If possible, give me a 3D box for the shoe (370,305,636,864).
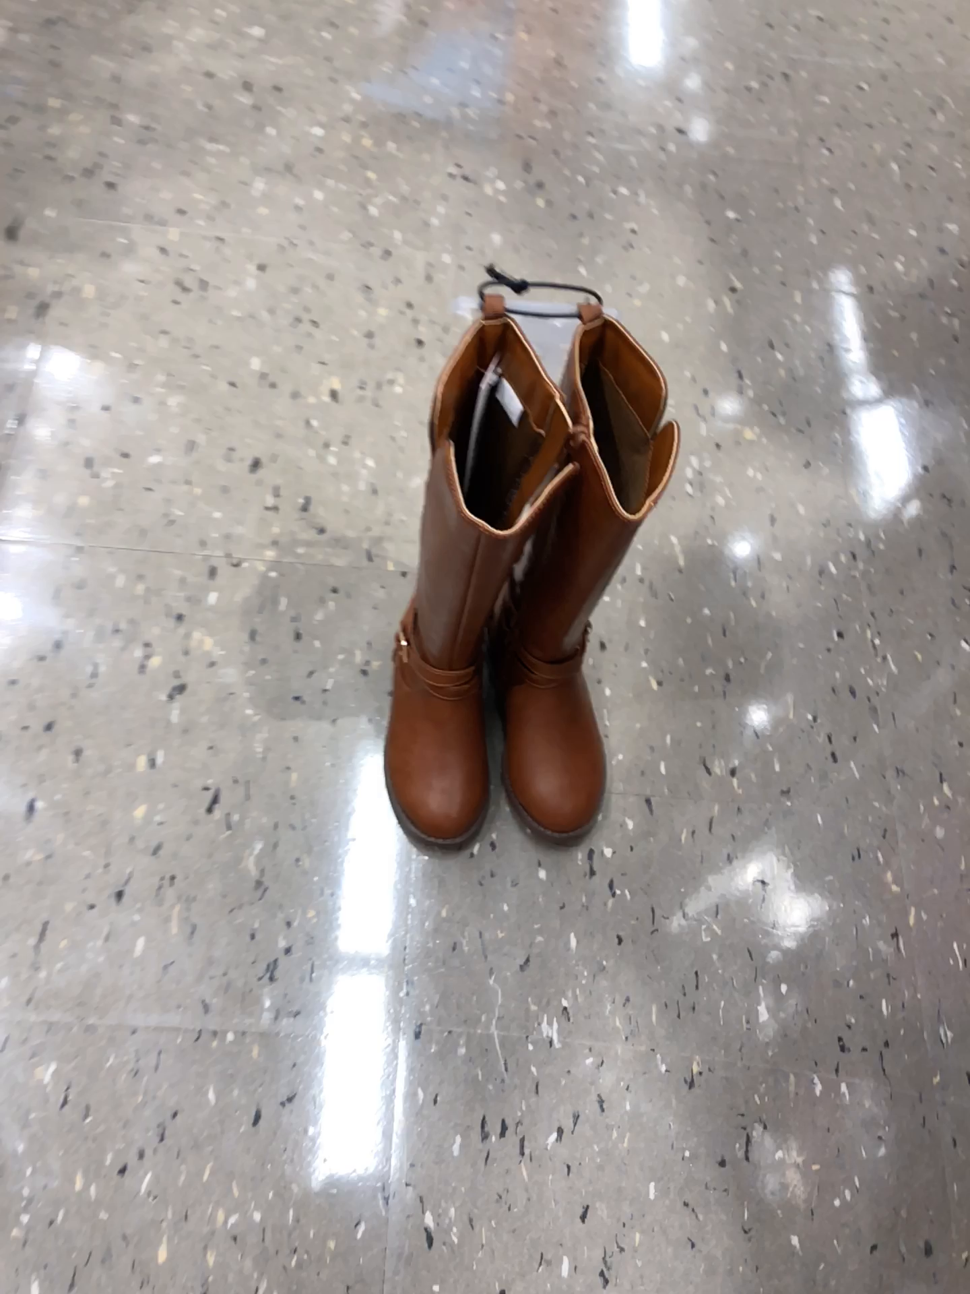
[{"bbox_3d":[-0.009,-0.013,0.566,0.070,0.270,0.180,-1,63,-12],"label":"shoe"}]

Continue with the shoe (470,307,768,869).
[{"bbox_3d":[0.051,-0.013,0.582,0.070,0.270,0.190,-6,64,-9],"label":"shoe"}]
